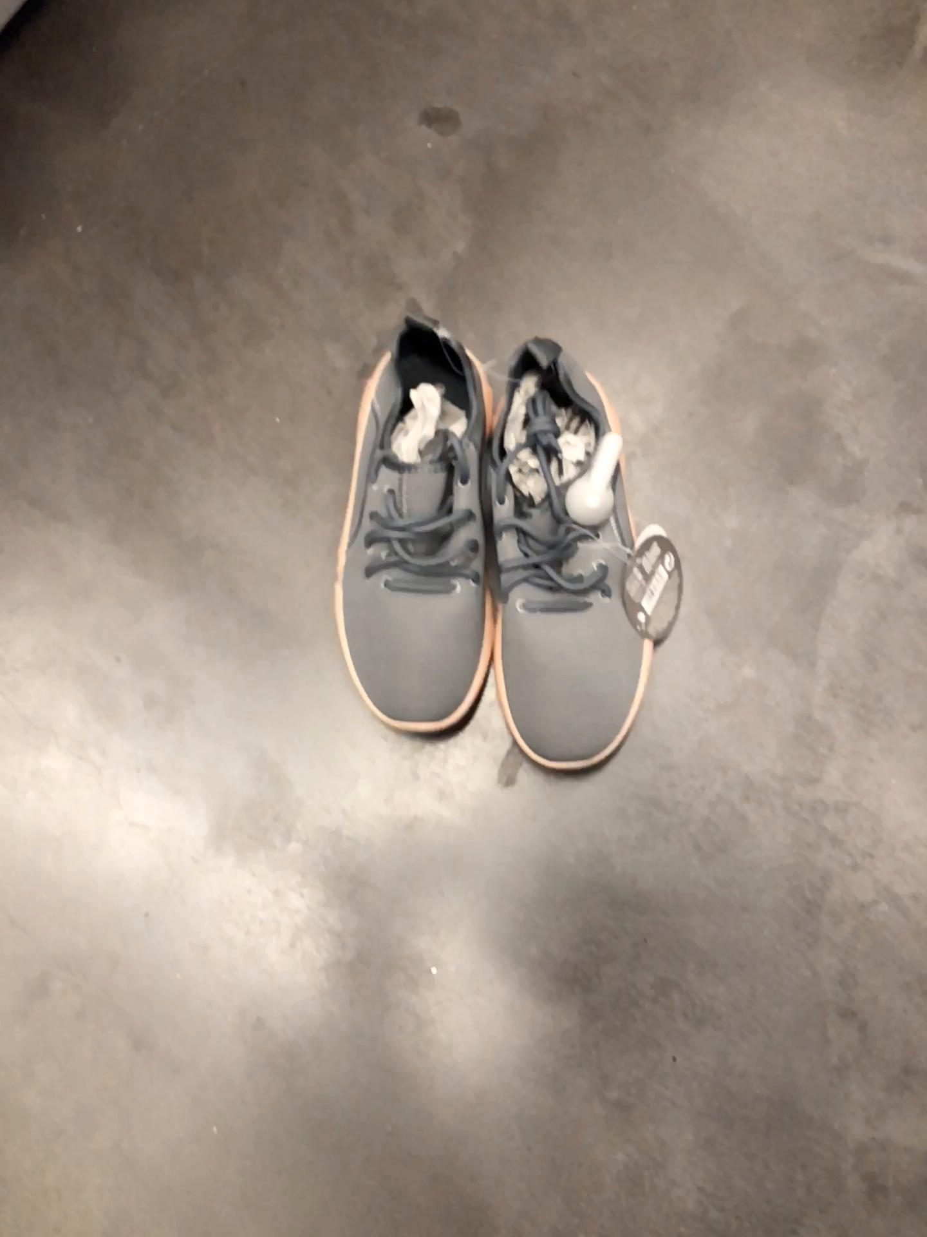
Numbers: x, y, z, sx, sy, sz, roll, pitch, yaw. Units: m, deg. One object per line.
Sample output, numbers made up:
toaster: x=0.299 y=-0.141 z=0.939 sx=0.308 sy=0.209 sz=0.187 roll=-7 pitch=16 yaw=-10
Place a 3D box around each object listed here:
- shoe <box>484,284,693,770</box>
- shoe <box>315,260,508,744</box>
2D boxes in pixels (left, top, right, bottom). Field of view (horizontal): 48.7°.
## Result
shoe: x=0.060 y=-0.045 z=0.554 sx=0.090 sy=0.100 sz=0.240 roll=-2 pitch=76 yaw=1
shoe: x=-0.022 y=-0.058 z=0.553 sx=0.090 sy=0.100 sz=0.240 roll=0 pitch=76 yaw=2
